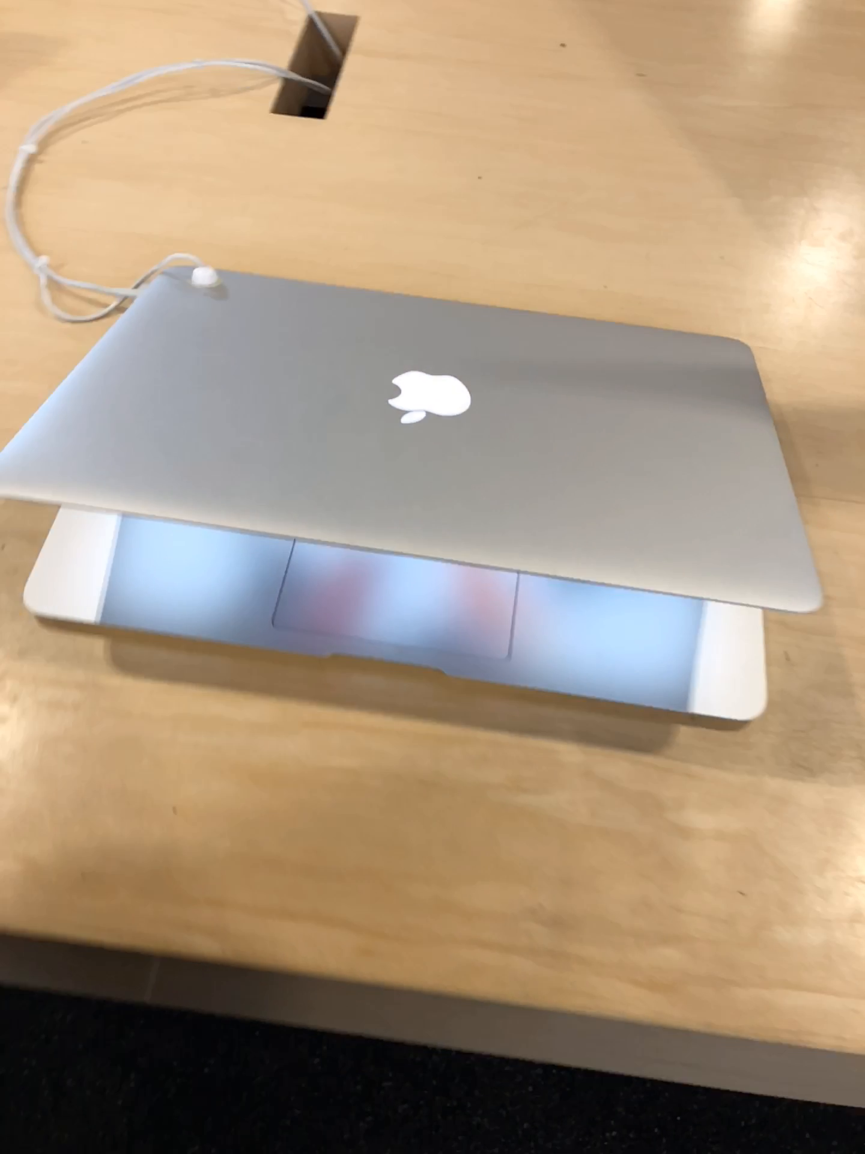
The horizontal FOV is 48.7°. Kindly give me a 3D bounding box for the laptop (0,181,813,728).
[{"bbox_3d":[-0.008,-0.068,0.432,0.315,0.067,0.216,8,56,3],"label":"laptop"}]
